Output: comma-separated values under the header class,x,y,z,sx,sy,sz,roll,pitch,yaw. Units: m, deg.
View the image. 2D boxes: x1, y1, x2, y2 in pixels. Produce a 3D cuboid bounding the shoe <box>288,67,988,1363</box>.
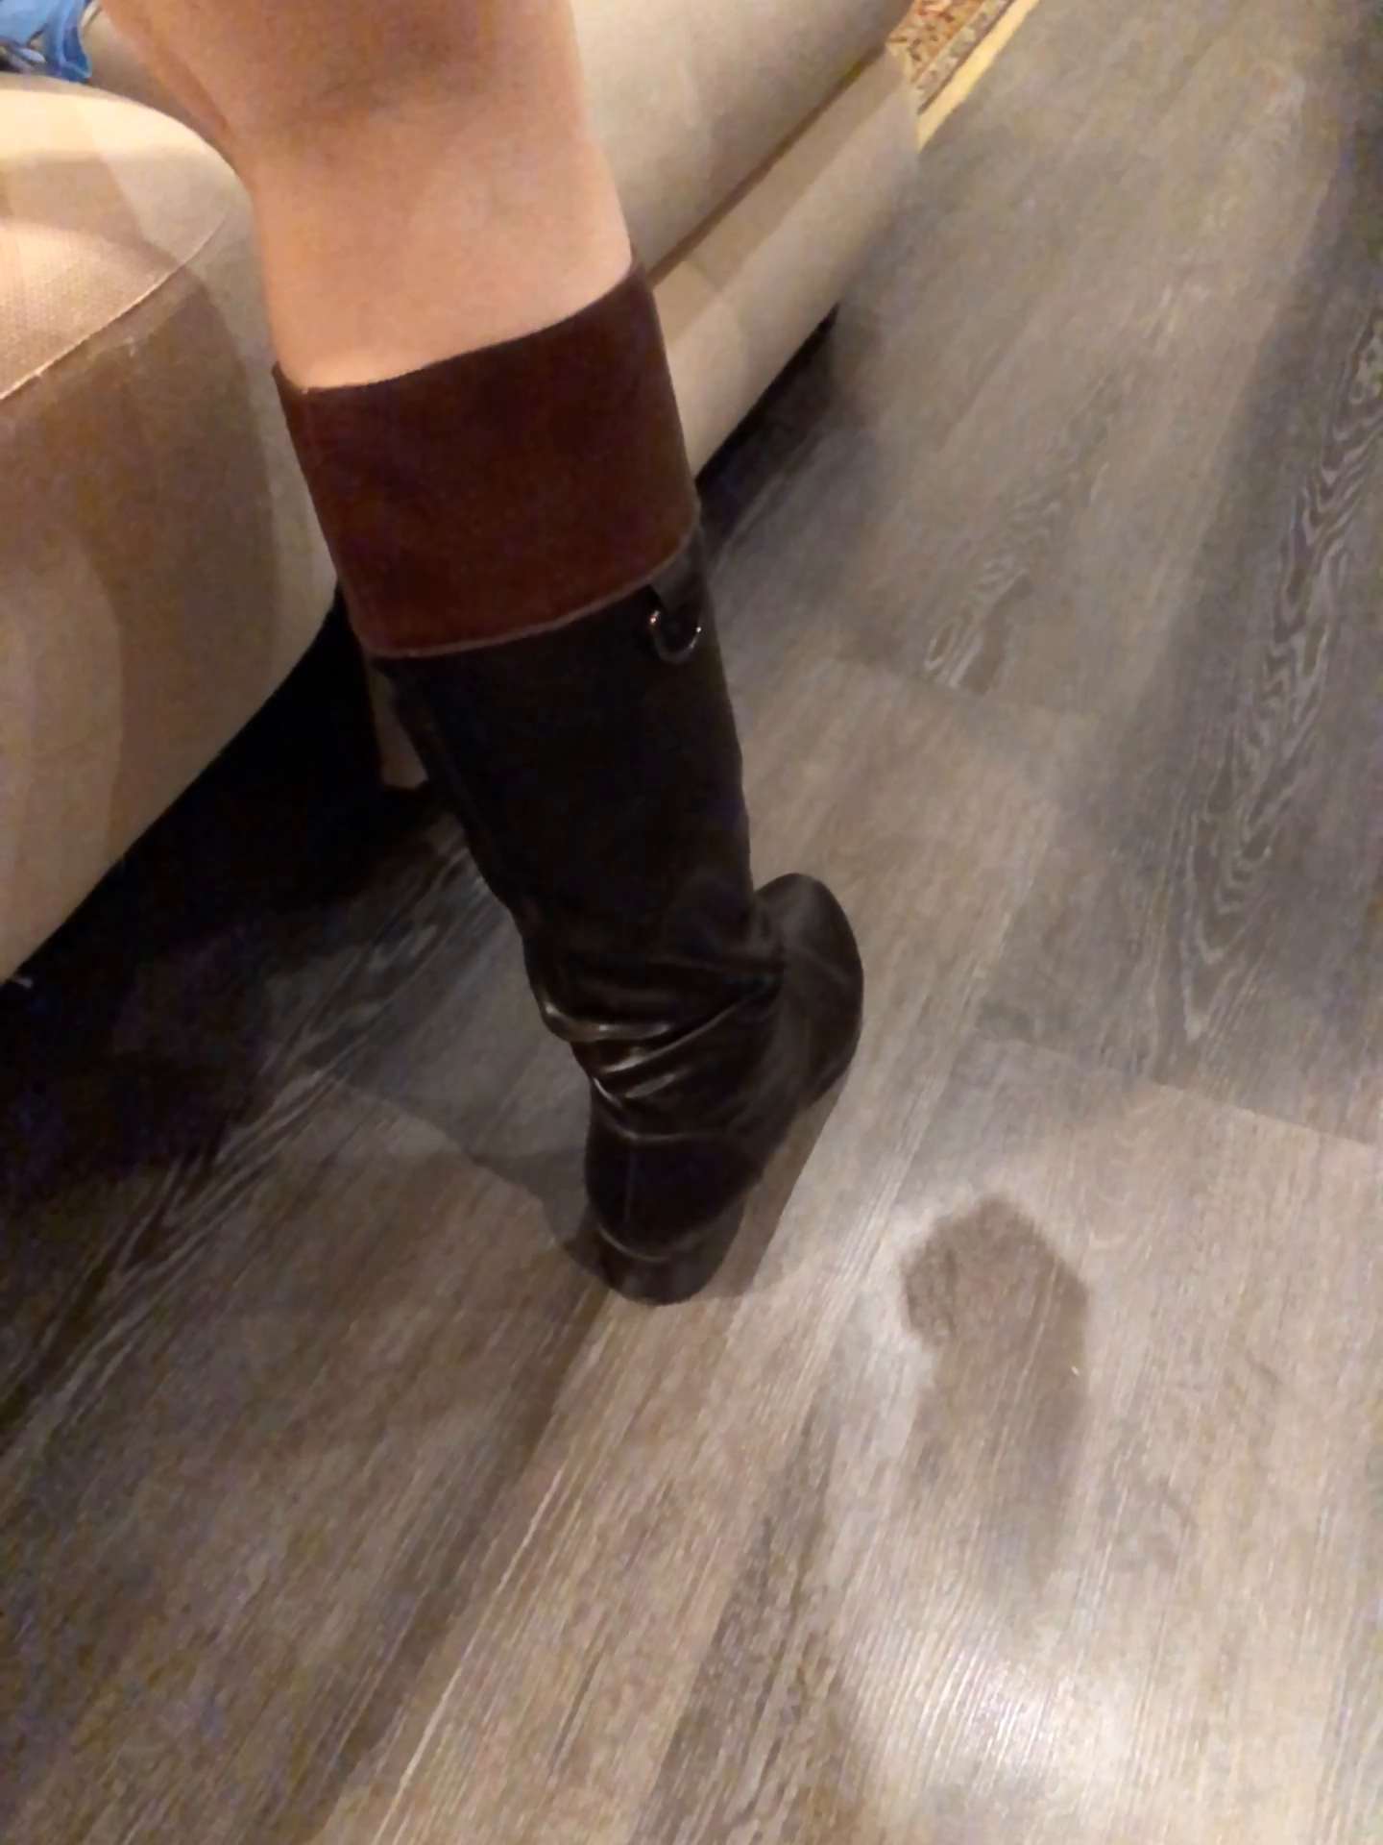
class,x,y,z,sx,sy,sz,roll,pitch,yaw
shoe,0.009,-0.063,0.604,0.110,0.417,0.271,15,48,17
